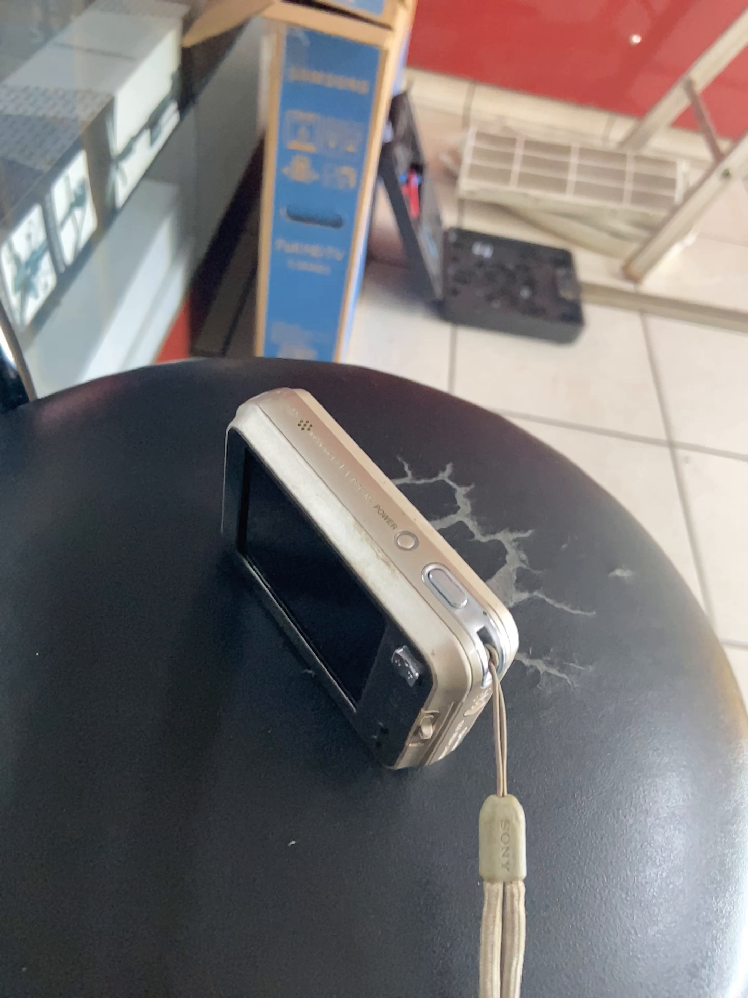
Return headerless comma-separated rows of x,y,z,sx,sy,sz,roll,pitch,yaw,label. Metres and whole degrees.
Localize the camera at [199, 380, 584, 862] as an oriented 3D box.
-0.005,0.029,0.205,0.030,0.060,0.110,-25,58,-30,camera
